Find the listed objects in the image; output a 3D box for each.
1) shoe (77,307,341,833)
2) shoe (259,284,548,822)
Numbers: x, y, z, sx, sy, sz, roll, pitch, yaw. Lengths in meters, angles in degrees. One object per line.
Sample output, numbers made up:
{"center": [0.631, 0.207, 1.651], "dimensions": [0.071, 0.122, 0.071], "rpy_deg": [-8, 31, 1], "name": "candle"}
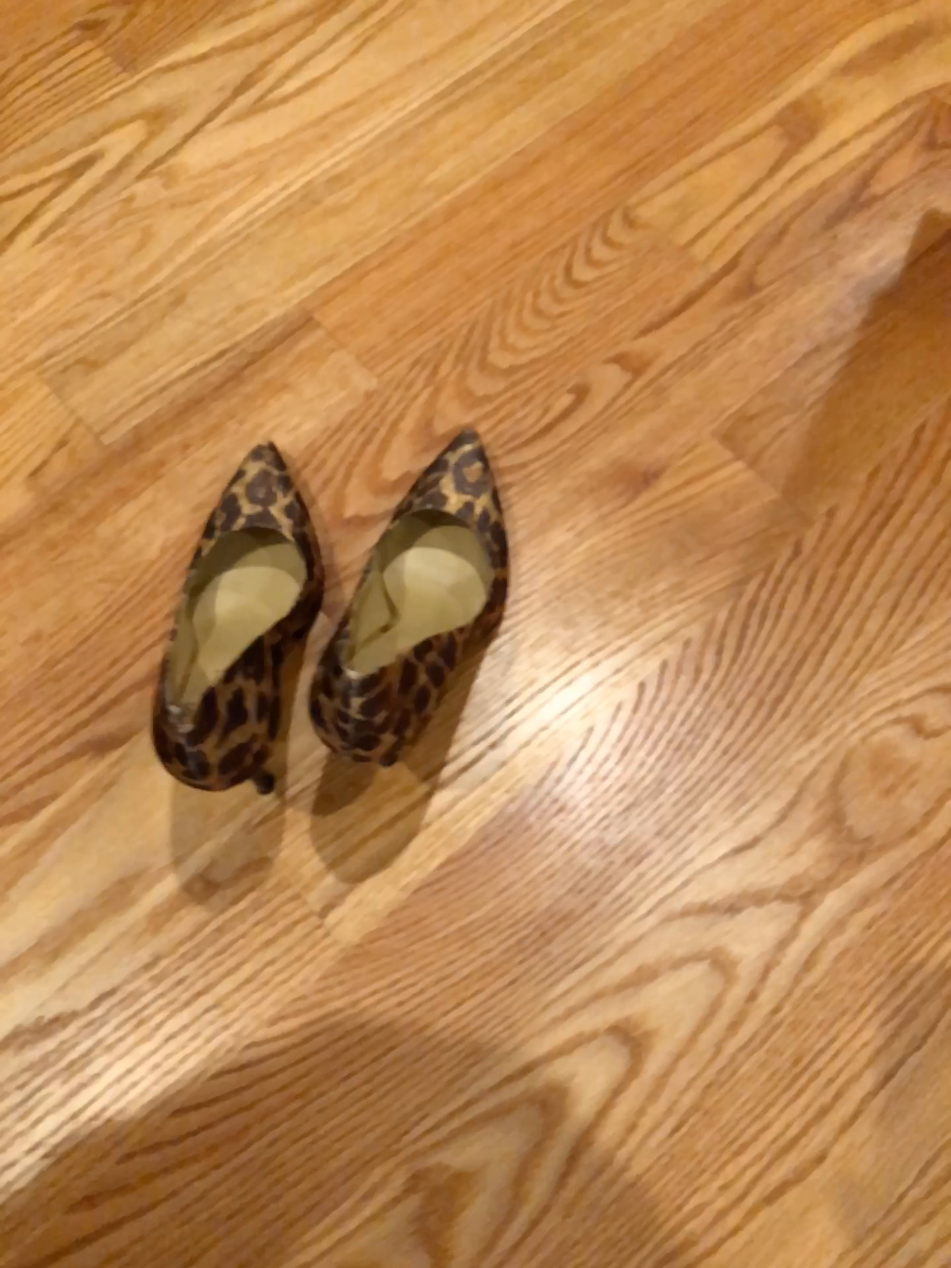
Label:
{"center": [-0.120, -0.027, 0.531], "dimensions": [0.083, 0.144, 0.219], "rpy_deg": [-3, 66, 0], "name": "shoe"}
{"center": [-0.024, -0.036, 0.532], "dimensions": [0.083, 0.144, 0.219], "rpy_deg": [9, 67, 6], "name": "shoe"}
